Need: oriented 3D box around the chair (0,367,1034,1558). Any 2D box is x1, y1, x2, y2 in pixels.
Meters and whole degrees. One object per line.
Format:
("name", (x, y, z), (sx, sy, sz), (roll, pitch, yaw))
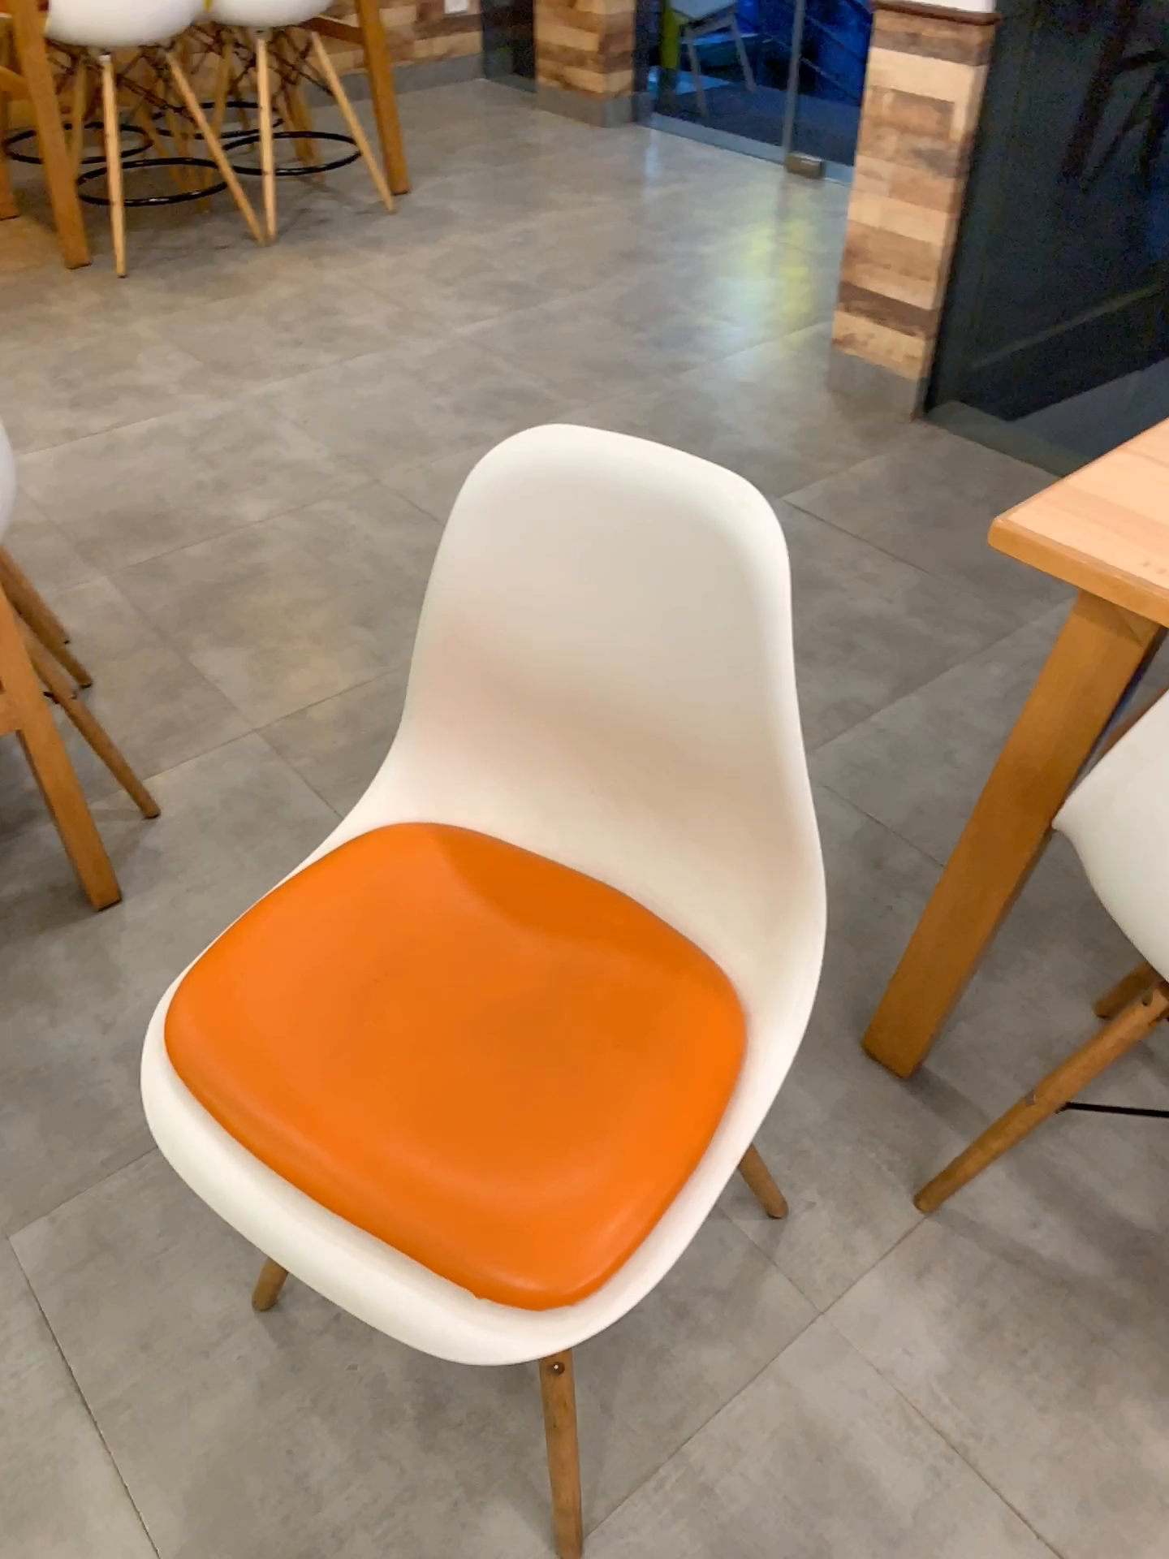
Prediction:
("chair", (-0.056, 0.158, 0.922), (0.472, 0.704, 0.482), (26, 47, 28))
